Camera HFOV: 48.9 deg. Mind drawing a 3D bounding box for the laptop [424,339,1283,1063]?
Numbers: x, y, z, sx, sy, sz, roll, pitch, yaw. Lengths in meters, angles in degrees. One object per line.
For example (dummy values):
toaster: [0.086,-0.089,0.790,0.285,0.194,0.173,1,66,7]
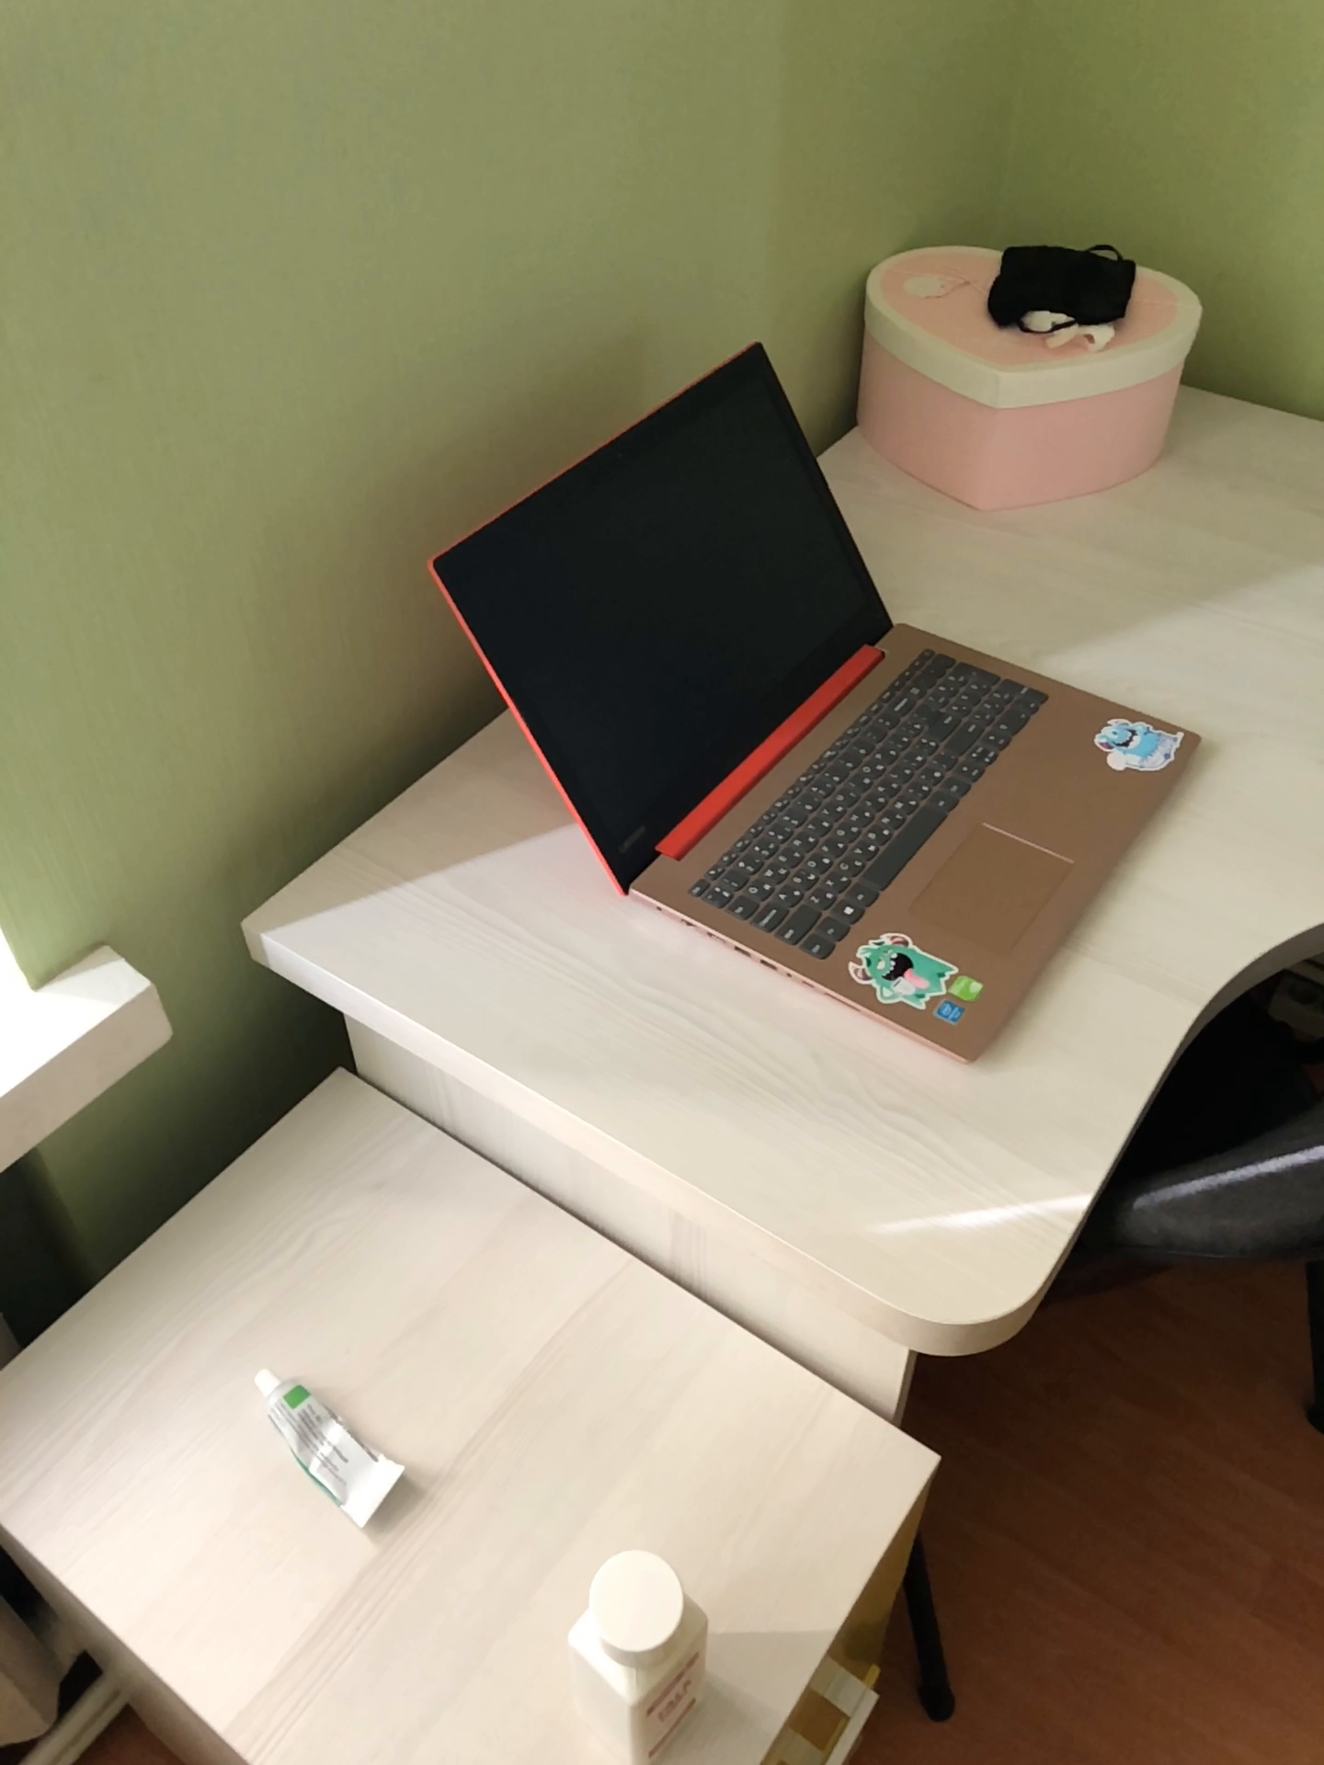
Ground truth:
laptop: [0.129,-0.153,0.983,0.402,0.198,0.376,27,50,24]
